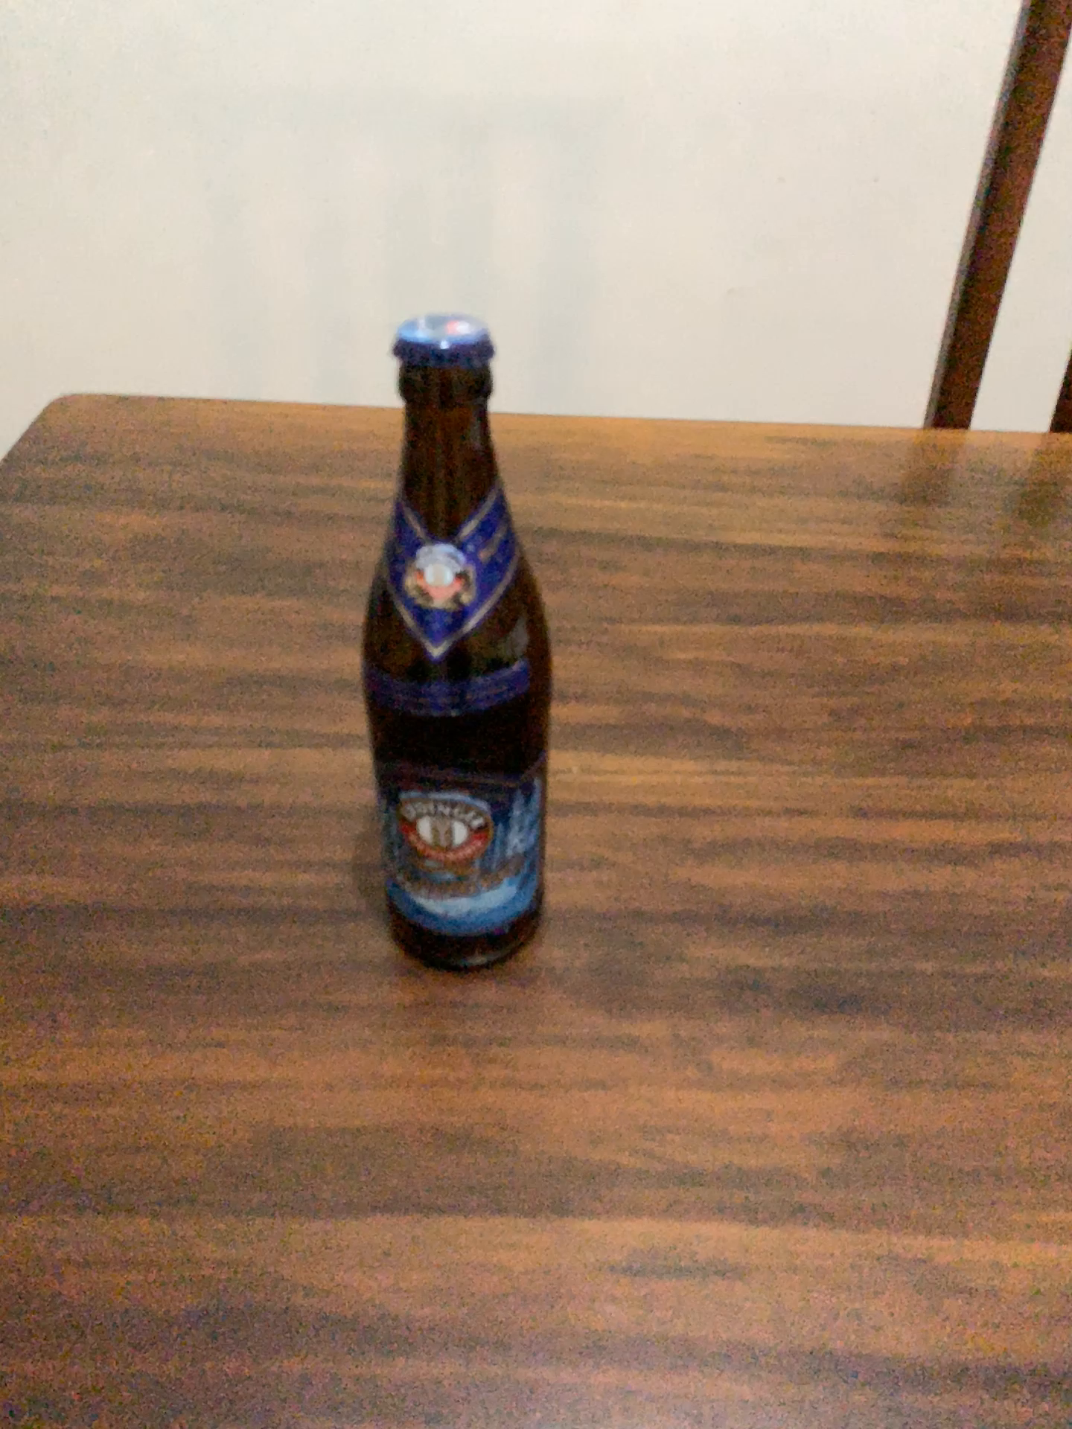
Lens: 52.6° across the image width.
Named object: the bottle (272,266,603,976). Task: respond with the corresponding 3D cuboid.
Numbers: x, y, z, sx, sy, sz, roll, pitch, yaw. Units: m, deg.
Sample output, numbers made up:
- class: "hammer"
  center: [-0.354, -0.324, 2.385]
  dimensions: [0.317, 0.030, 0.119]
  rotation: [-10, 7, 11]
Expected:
- class: "bottle"
  center: [-0.026, -0.013, 0.374]
  dimensions: [0.080, 0.249, 0.070]
  rotation: [3, 43, 1]
